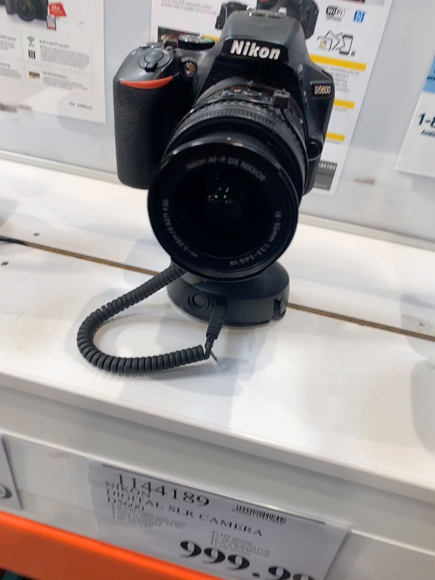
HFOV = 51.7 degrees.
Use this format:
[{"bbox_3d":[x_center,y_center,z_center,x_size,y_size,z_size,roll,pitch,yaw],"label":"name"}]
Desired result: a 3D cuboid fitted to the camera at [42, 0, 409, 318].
[{"bbox_3d":[0.008,-0.076,0.216,0.111,0.090,0.141,11,37,4],"label":"camera"}]
